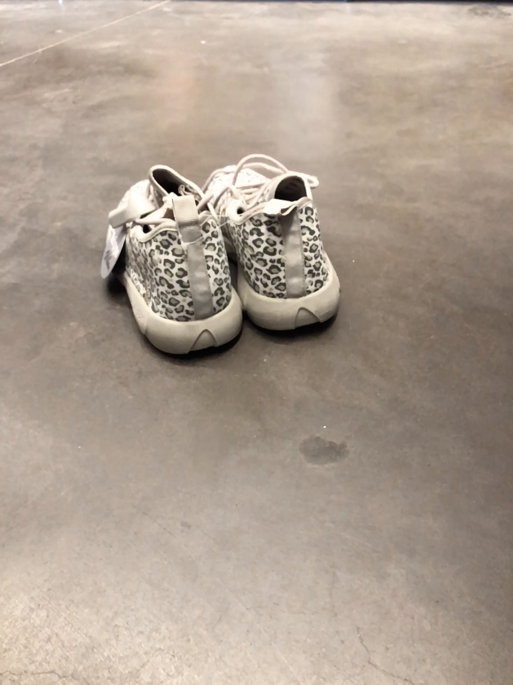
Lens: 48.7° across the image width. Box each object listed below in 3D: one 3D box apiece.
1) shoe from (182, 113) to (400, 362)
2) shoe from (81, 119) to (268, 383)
[{"bbox_3d":[0.014,-0.108,0.495,0.100,0.099,0.251,-12,39,-12],"label":"shoe"},{"bbox_3d":[-0.077,-0.094,0.475,0.100,0.099,0.251,-12,39,-12],"label":"shoe"}]
